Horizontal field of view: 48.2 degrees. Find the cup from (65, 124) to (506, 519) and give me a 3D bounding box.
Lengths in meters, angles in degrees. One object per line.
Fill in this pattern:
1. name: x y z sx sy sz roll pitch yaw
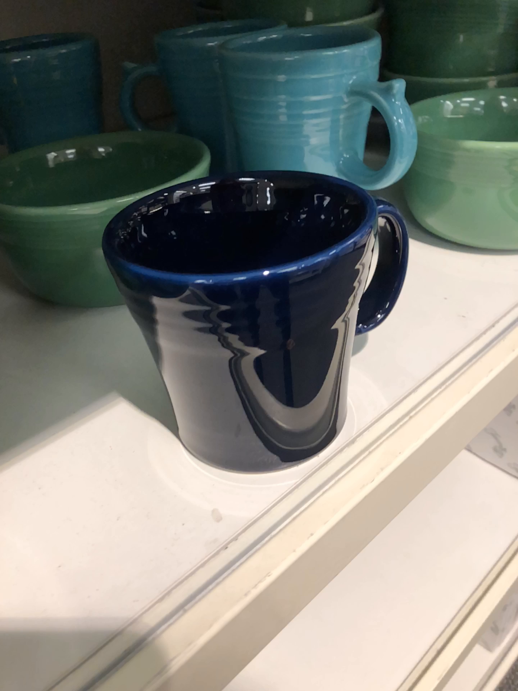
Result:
1. cup: 0.016 -0.024 0.245 0.143 0.085 0.093 -32 44 -30
